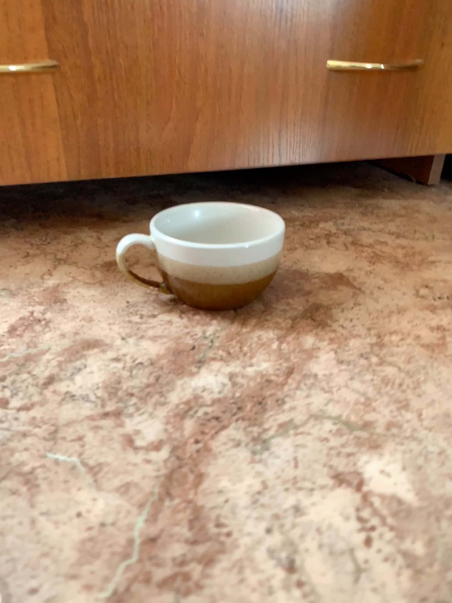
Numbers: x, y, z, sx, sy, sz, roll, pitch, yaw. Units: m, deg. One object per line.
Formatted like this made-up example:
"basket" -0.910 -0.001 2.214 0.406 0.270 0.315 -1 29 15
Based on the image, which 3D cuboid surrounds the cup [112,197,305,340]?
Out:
"cup" -0.018 -0.029 0.328 0.115 0.059 0.091 -5 31 -13
